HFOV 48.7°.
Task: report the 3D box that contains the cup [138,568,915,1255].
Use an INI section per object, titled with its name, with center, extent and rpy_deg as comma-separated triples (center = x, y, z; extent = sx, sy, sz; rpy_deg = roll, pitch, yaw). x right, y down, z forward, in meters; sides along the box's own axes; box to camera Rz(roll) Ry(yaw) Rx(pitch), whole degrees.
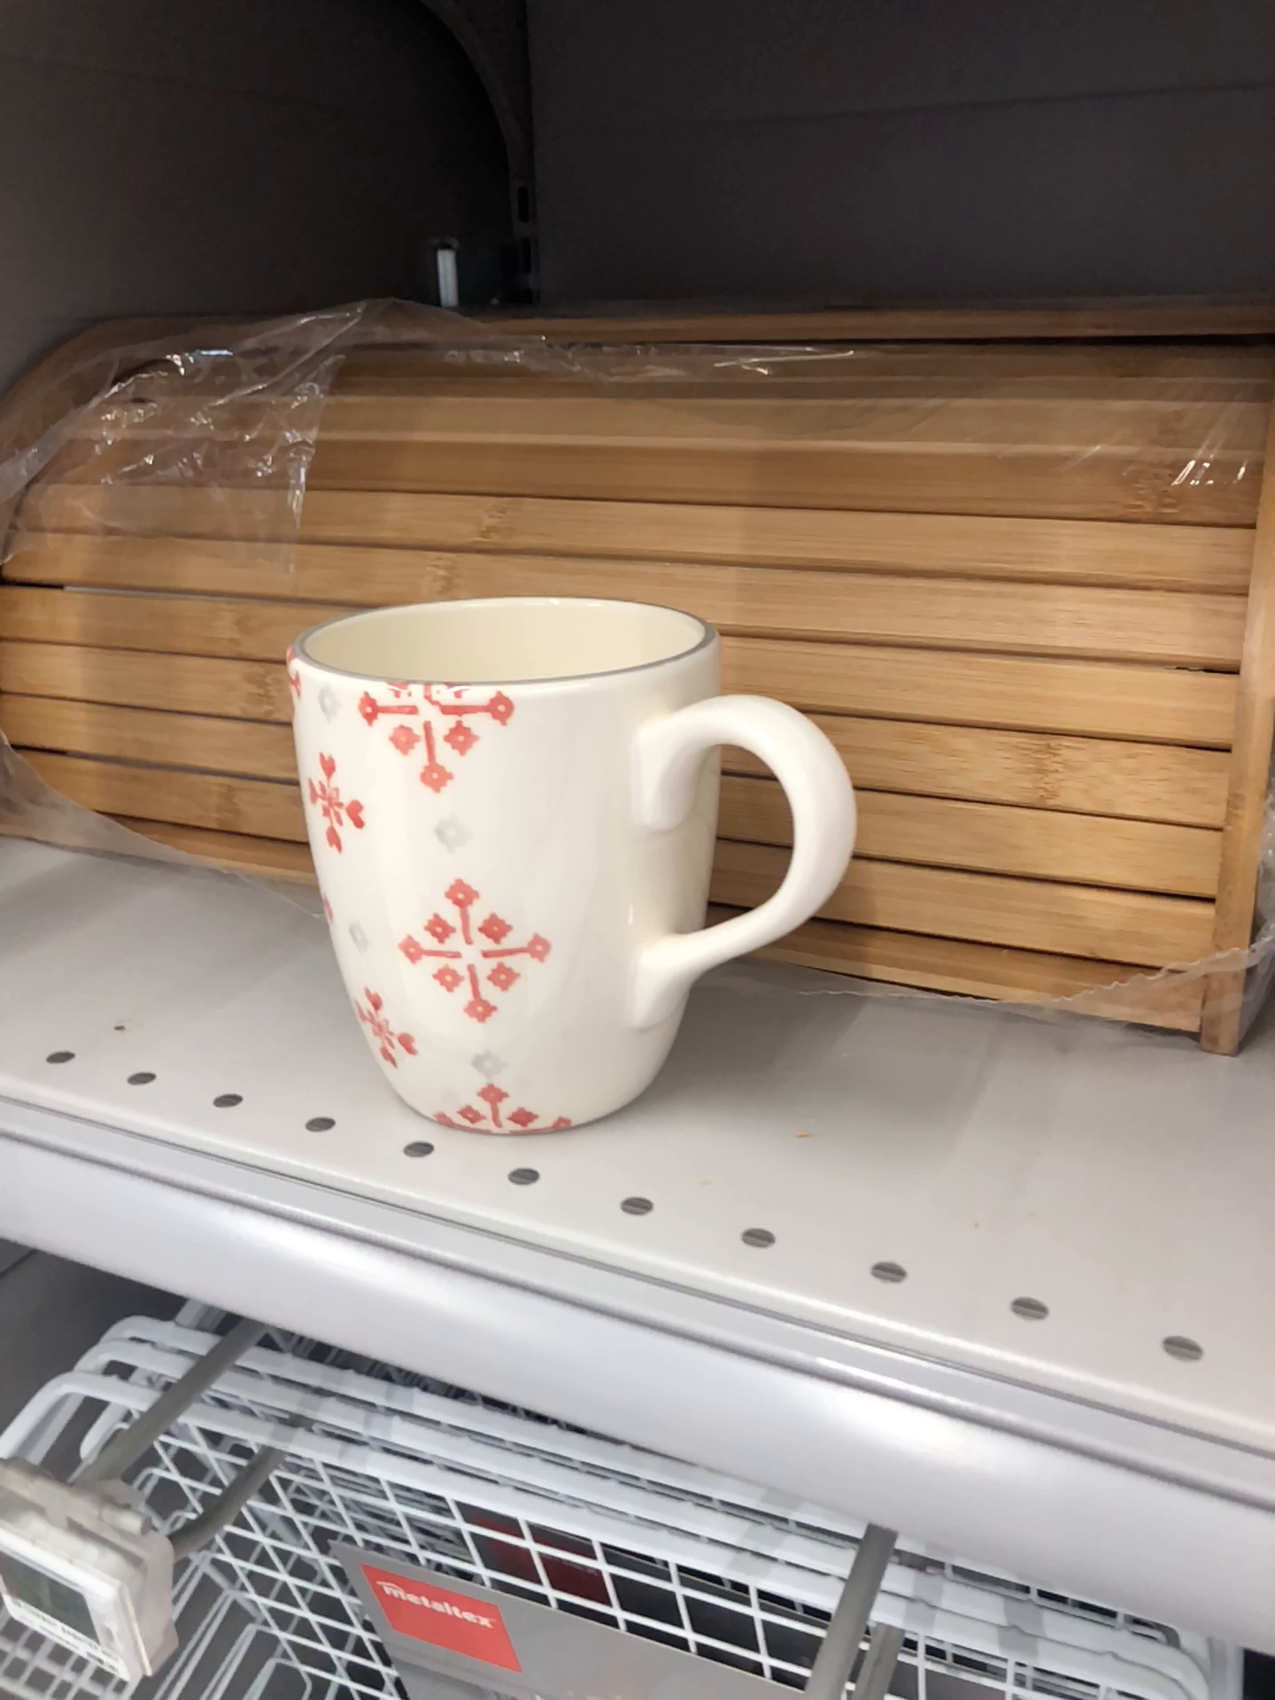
[cup]
center = -0.022, 0.000, 0.292
extent = 0.124, 0.089, 0.090
rpy_deg = 16, 27, 37
